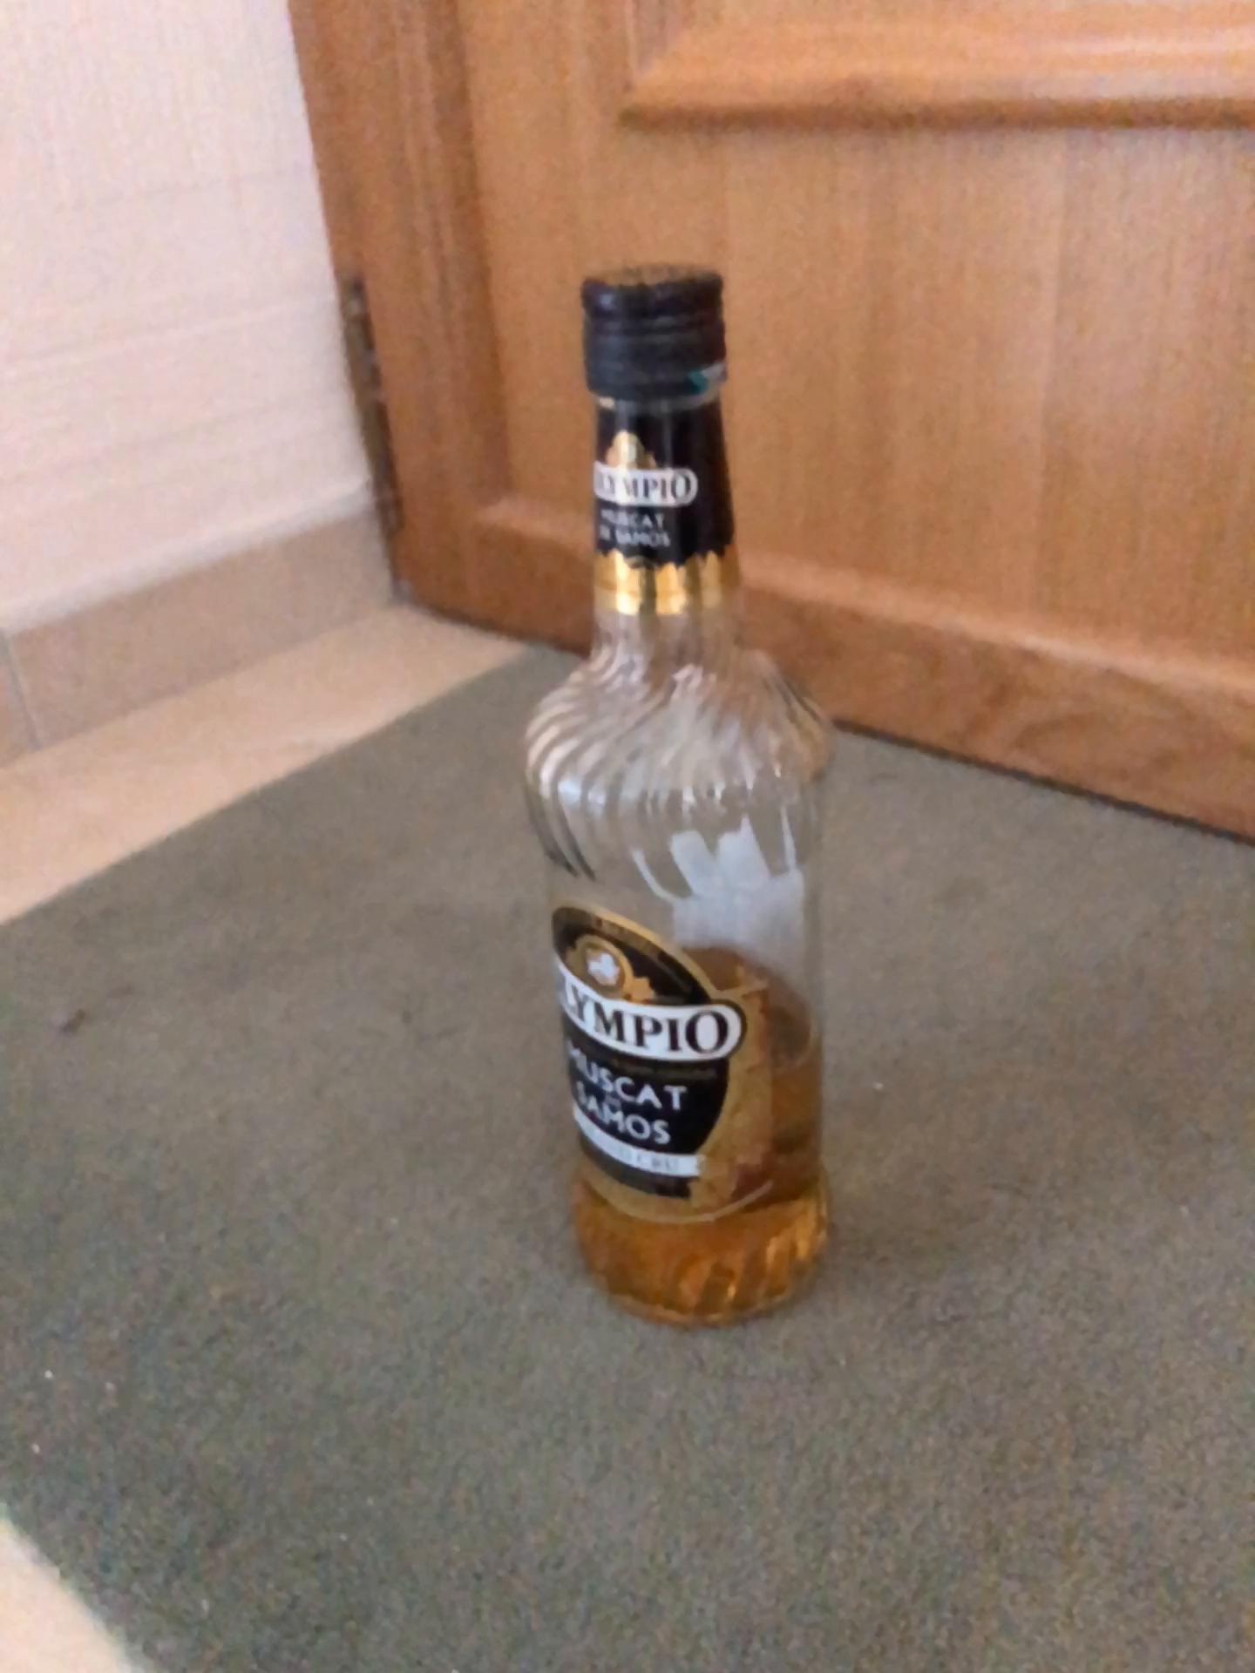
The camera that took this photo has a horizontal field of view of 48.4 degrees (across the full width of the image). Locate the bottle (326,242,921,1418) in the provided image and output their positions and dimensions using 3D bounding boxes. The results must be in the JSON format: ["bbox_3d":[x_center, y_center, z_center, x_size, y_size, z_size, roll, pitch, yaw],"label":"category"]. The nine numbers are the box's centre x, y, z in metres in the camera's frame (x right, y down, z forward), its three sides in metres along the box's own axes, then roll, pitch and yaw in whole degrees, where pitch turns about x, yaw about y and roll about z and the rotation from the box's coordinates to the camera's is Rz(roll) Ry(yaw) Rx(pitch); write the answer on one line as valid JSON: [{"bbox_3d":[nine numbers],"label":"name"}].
[{"bbox_3d":[0.009,0.006,0.372,0.090,0.288,0.090,-3,31,2],"label":"bottle"}]
